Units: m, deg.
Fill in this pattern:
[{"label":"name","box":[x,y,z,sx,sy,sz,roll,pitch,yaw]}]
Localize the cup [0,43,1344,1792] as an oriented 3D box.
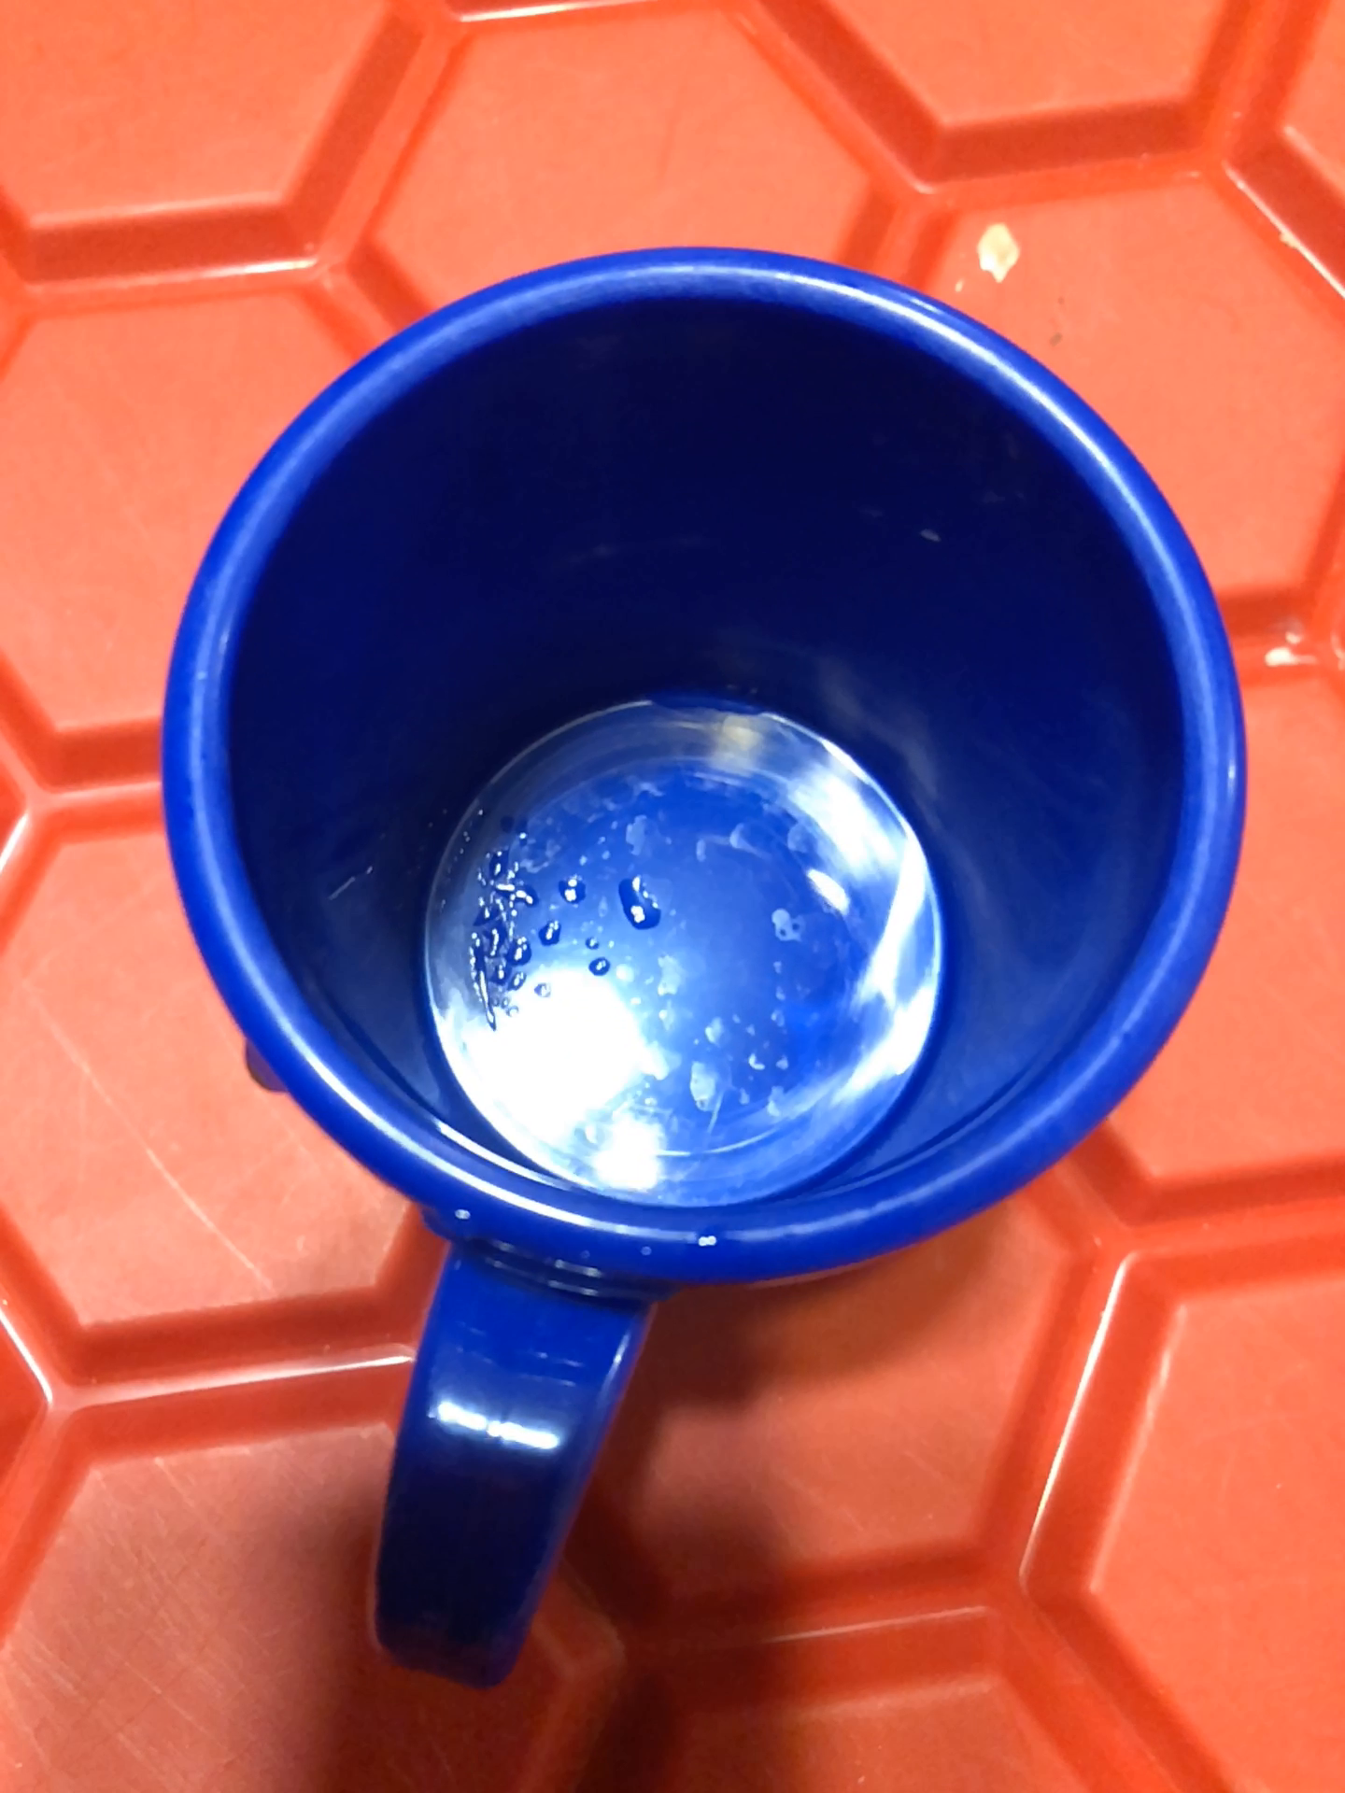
[{"label":"cup","box":[-0.005,0.011,0.154,0.090,0.100,0.120,16,77,3]}]
